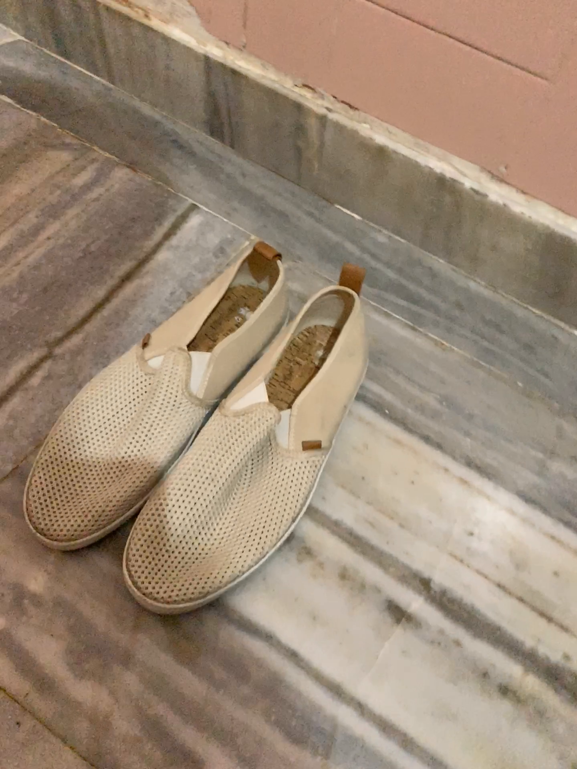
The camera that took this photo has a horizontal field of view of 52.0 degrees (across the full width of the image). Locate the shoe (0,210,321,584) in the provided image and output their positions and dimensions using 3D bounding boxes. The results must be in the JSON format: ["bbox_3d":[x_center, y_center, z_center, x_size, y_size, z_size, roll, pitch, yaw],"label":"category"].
[{"bbox_3d":[-0.109,-0.007,0.495,0.116,0.080,0.310,33,60,12],"label":"shoe"}]

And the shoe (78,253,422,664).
[{"bbox_3d":[-0.014,0.041,0.477,0.116,0.080,0.310,28,59,9],"label":"shoe"}]
